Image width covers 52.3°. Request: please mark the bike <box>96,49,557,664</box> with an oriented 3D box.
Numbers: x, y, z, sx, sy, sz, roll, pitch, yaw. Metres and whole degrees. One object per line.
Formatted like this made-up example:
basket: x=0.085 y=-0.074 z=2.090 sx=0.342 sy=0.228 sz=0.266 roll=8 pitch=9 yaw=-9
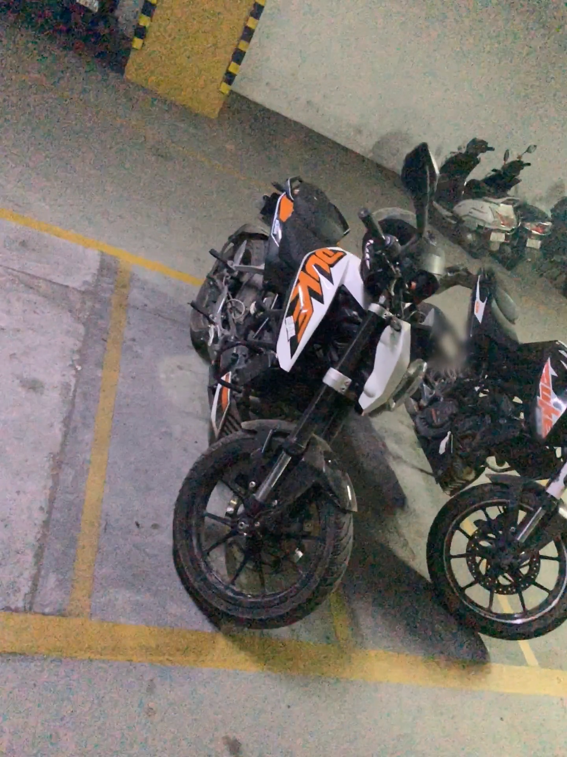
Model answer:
bike: x=-0.041 y=-0.196 z=2.248 sx=0.803 sy=1.181 sz=1.921 roll=17 pitch=38 yaw=-24
